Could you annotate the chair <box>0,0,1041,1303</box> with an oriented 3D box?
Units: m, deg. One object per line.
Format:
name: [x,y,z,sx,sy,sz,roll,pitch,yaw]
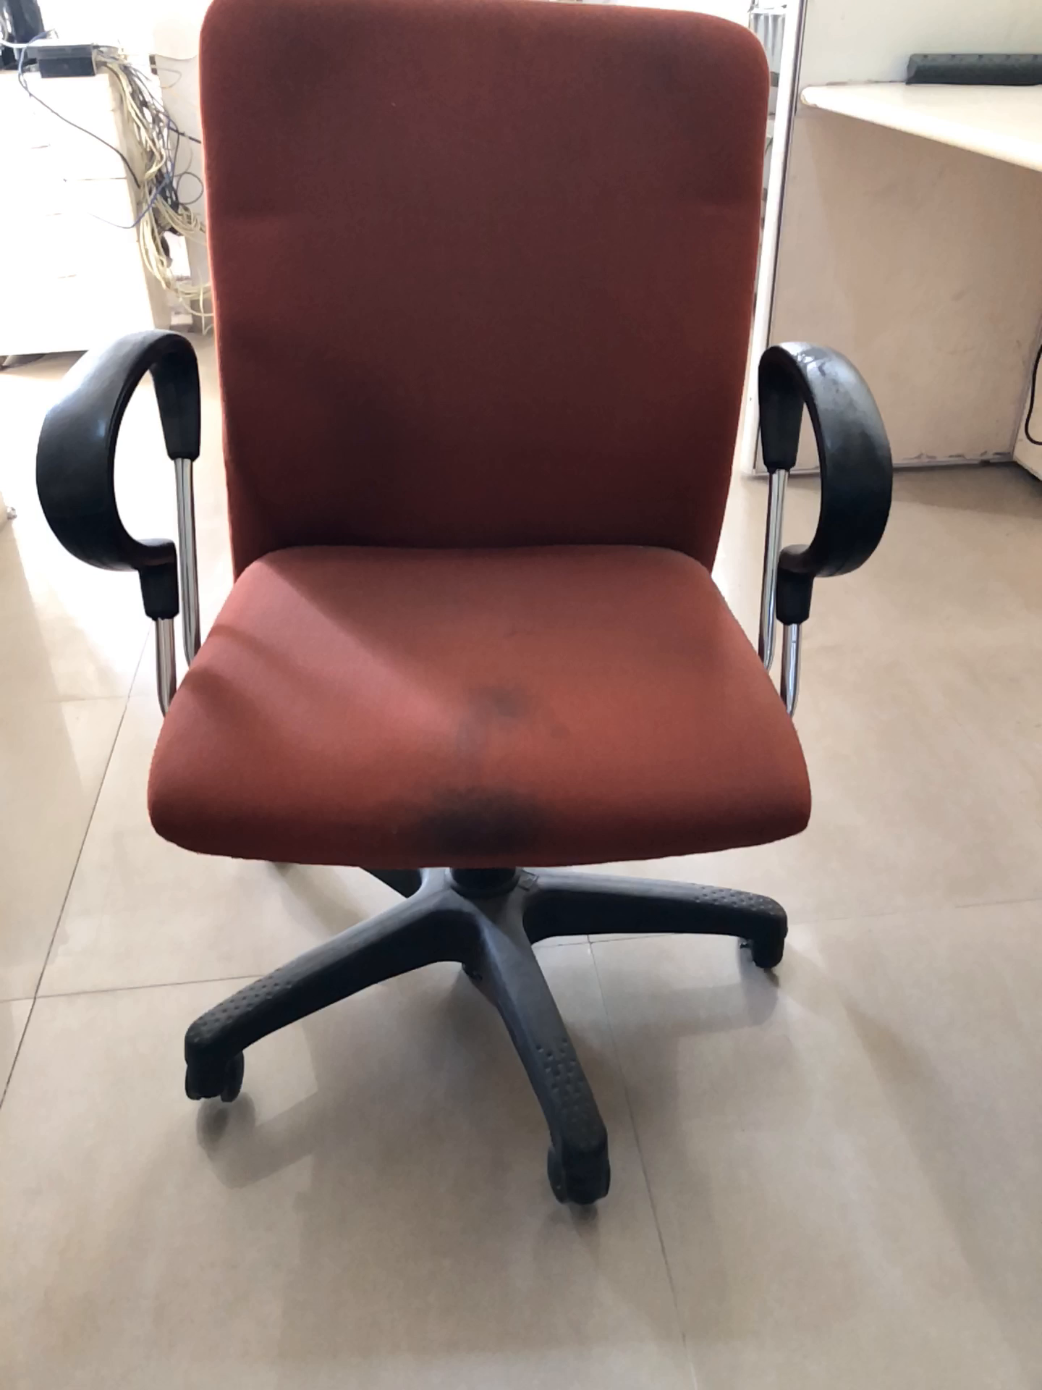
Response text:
chair: [-0.046,-0.069,1.084,0.770,1.043,0.705,-1,32,0]
